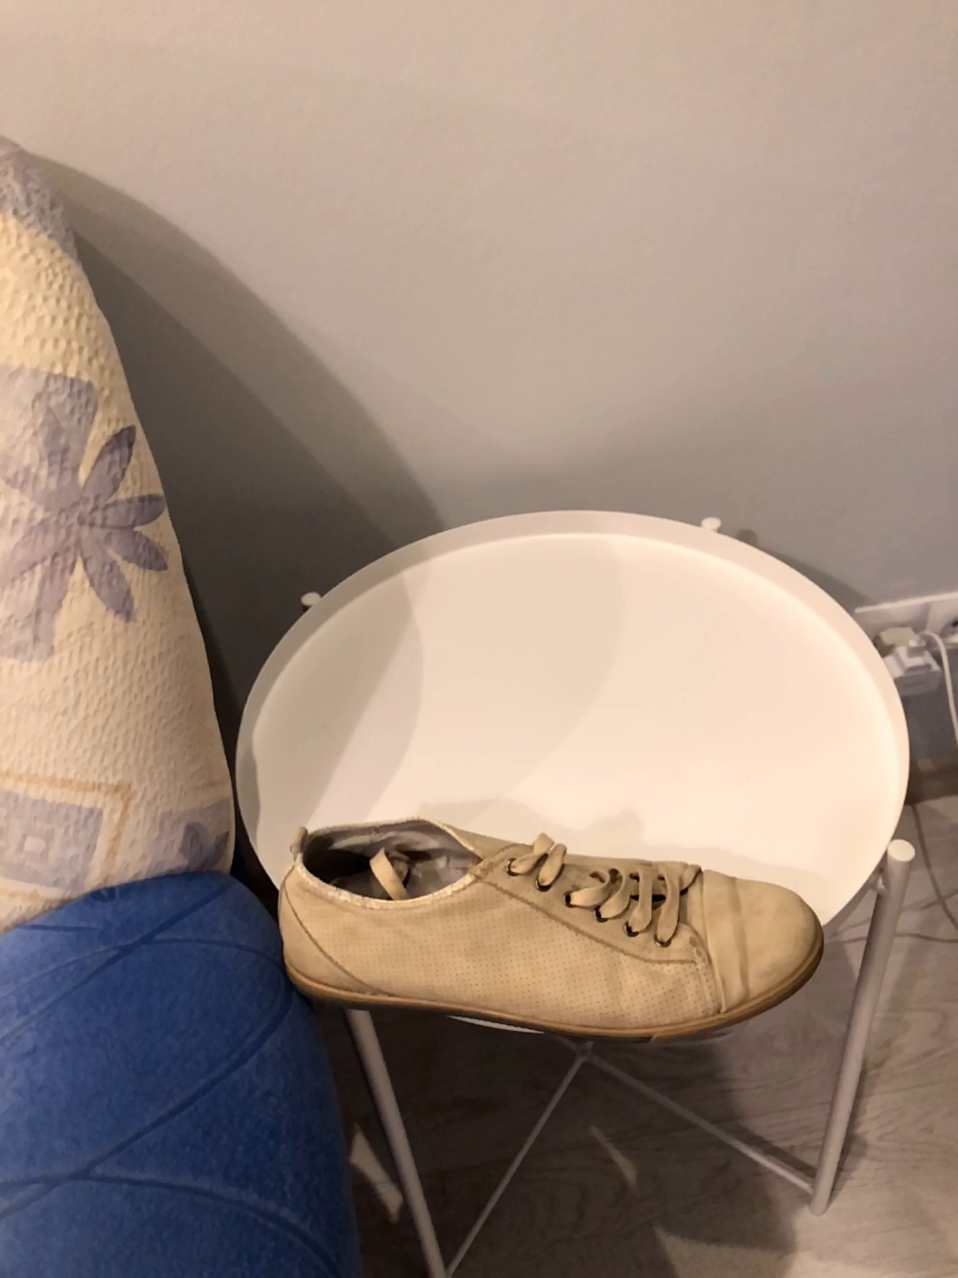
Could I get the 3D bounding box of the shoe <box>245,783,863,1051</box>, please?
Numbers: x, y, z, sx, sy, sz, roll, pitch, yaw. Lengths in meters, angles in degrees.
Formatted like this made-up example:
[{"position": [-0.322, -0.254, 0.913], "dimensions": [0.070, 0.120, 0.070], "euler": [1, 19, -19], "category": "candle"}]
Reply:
[{"position": [0.036, 0.141, 0.544], "dimensions": [0.280, 0.070, 0.111], "euler": [-1, 39, 5], "category": "shoe"}]
